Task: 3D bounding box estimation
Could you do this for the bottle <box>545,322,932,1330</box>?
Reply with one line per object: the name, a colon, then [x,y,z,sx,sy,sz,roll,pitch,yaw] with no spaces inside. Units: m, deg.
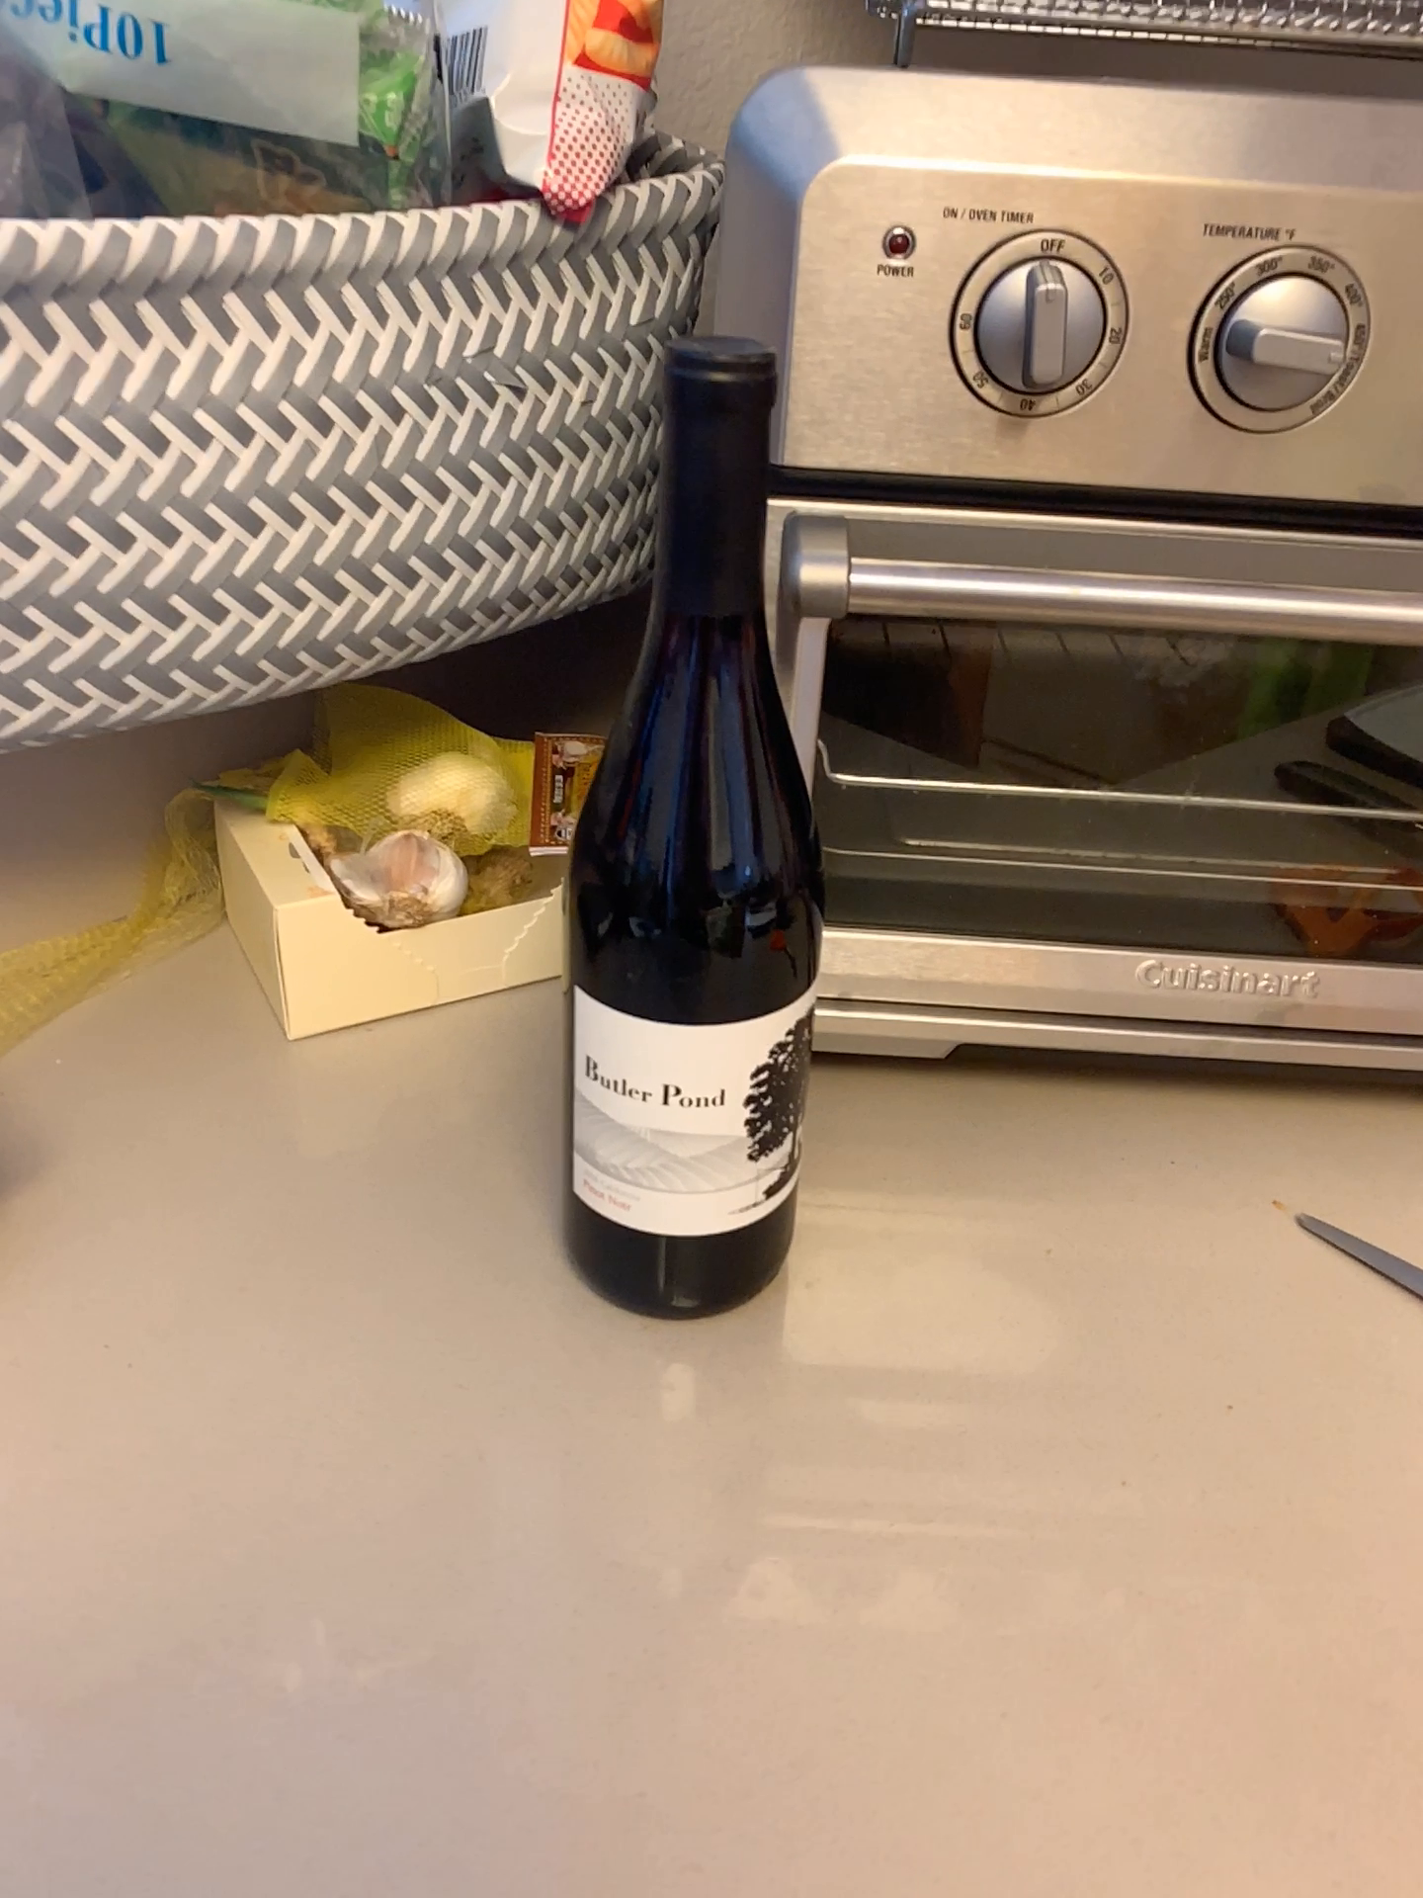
bottle: [-0.003,-0.021,0.401,0.080,0.268,0.070,-1,31,-7]
